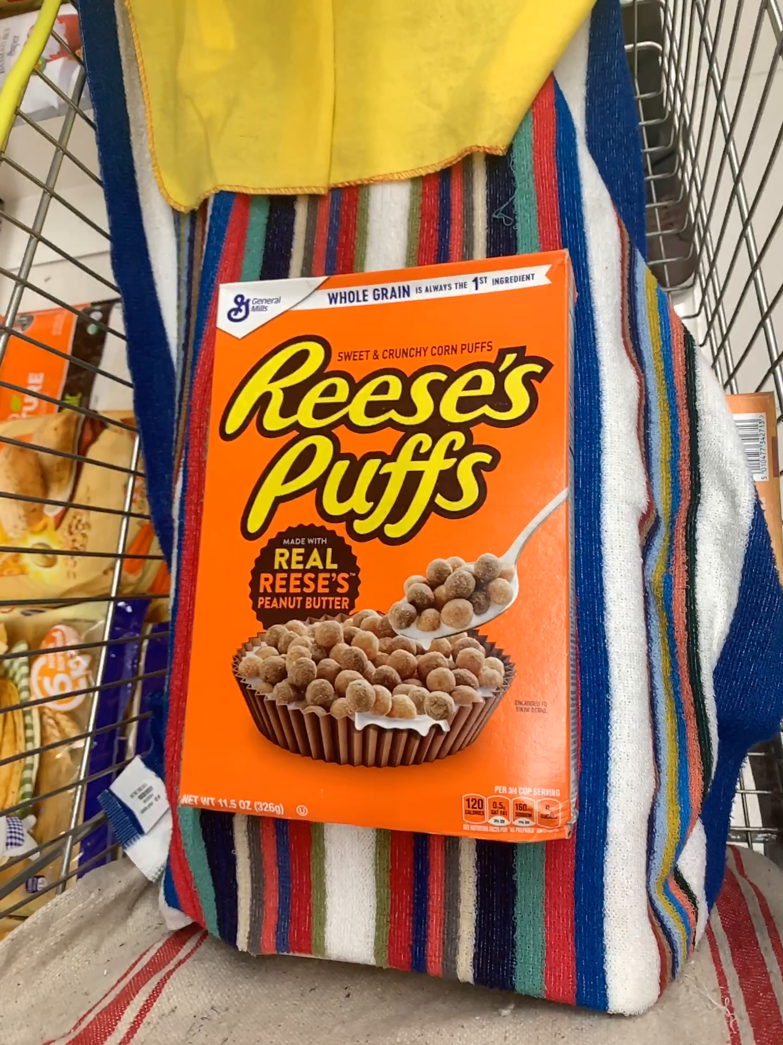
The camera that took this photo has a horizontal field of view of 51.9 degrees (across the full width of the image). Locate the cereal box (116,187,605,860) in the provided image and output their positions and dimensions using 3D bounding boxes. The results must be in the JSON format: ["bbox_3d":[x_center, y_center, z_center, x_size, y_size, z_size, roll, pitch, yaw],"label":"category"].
[{"bbox_3d":[-0.006,-0.001,0.373,0.200,0.080,0.260,0,81,16],"label":"cereal box"}]
